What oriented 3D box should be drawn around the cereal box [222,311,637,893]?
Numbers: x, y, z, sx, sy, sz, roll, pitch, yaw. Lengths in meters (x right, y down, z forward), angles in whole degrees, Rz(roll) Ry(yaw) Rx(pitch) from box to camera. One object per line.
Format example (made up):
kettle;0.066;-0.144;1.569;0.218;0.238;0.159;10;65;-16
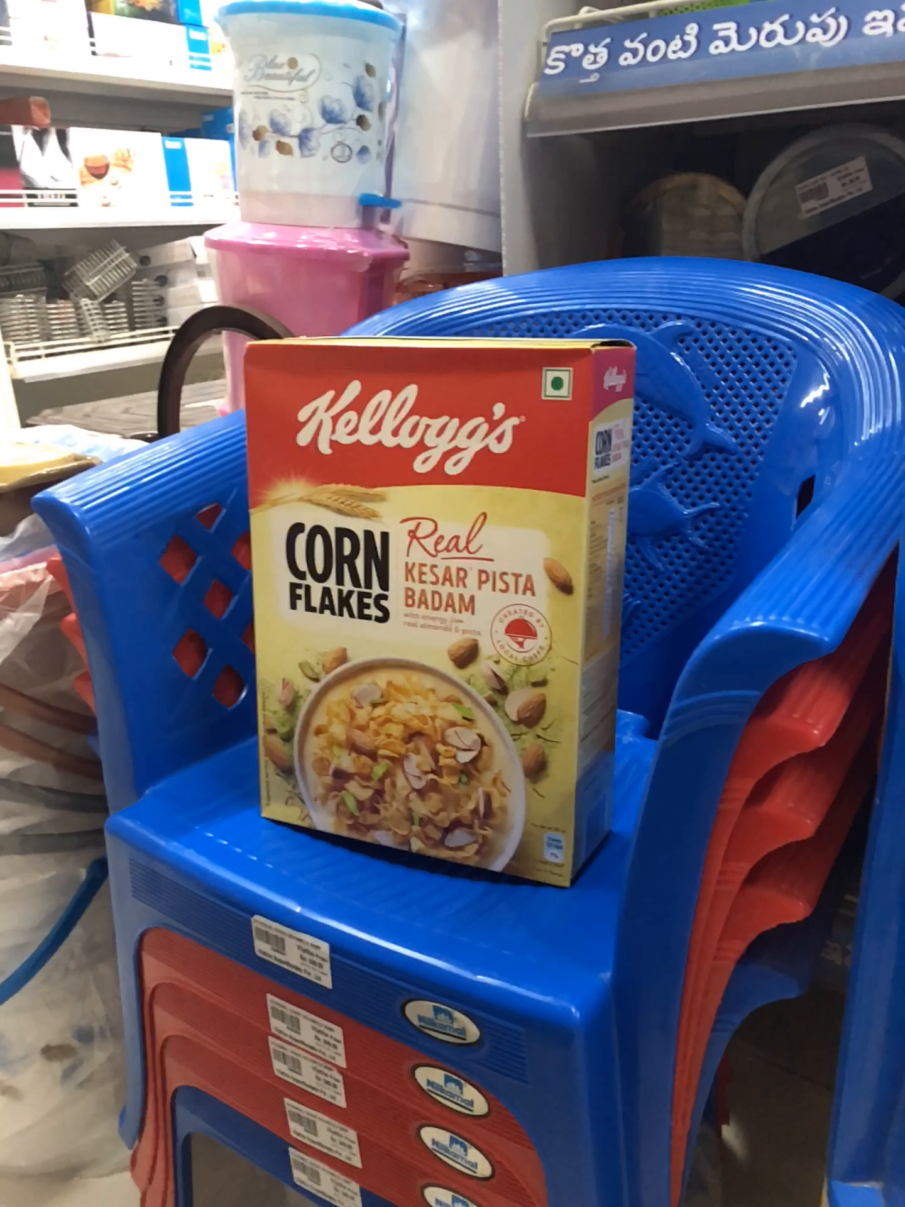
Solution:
cereal box;-0.012;-0.009;0.519;0.190;0.269;0.070;6;15;24
